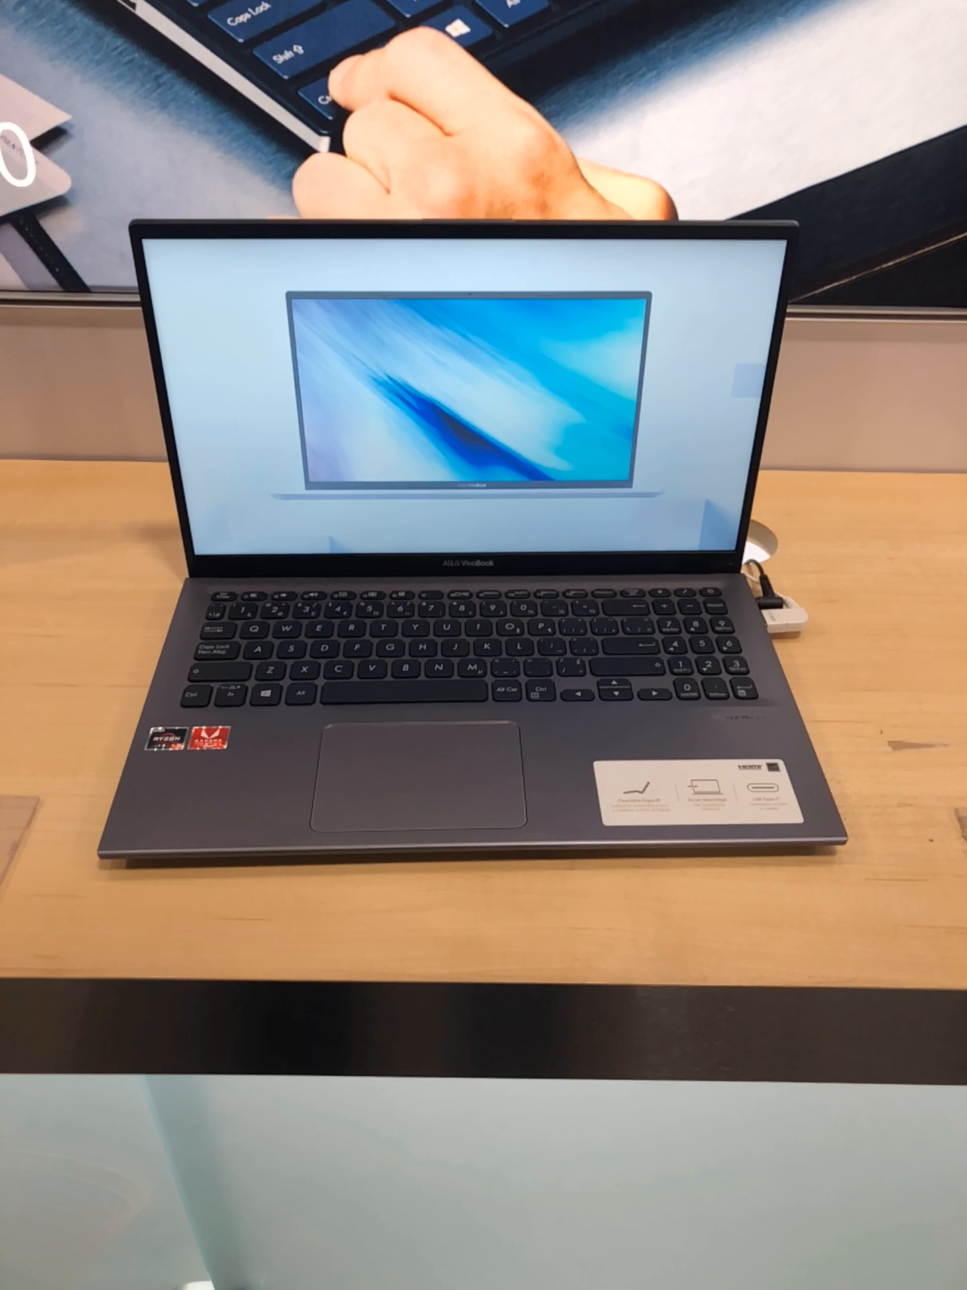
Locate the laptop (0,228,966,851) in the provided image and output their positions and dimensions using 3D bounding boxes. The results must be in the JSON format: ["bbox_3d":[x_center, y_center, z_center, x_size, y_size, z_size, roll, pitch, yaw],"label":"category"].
[{"bbox_3d":[-0.005,-0.061,0.527,0.349,0.211,0.243,0,38,-1],"label":"laptop"}]
